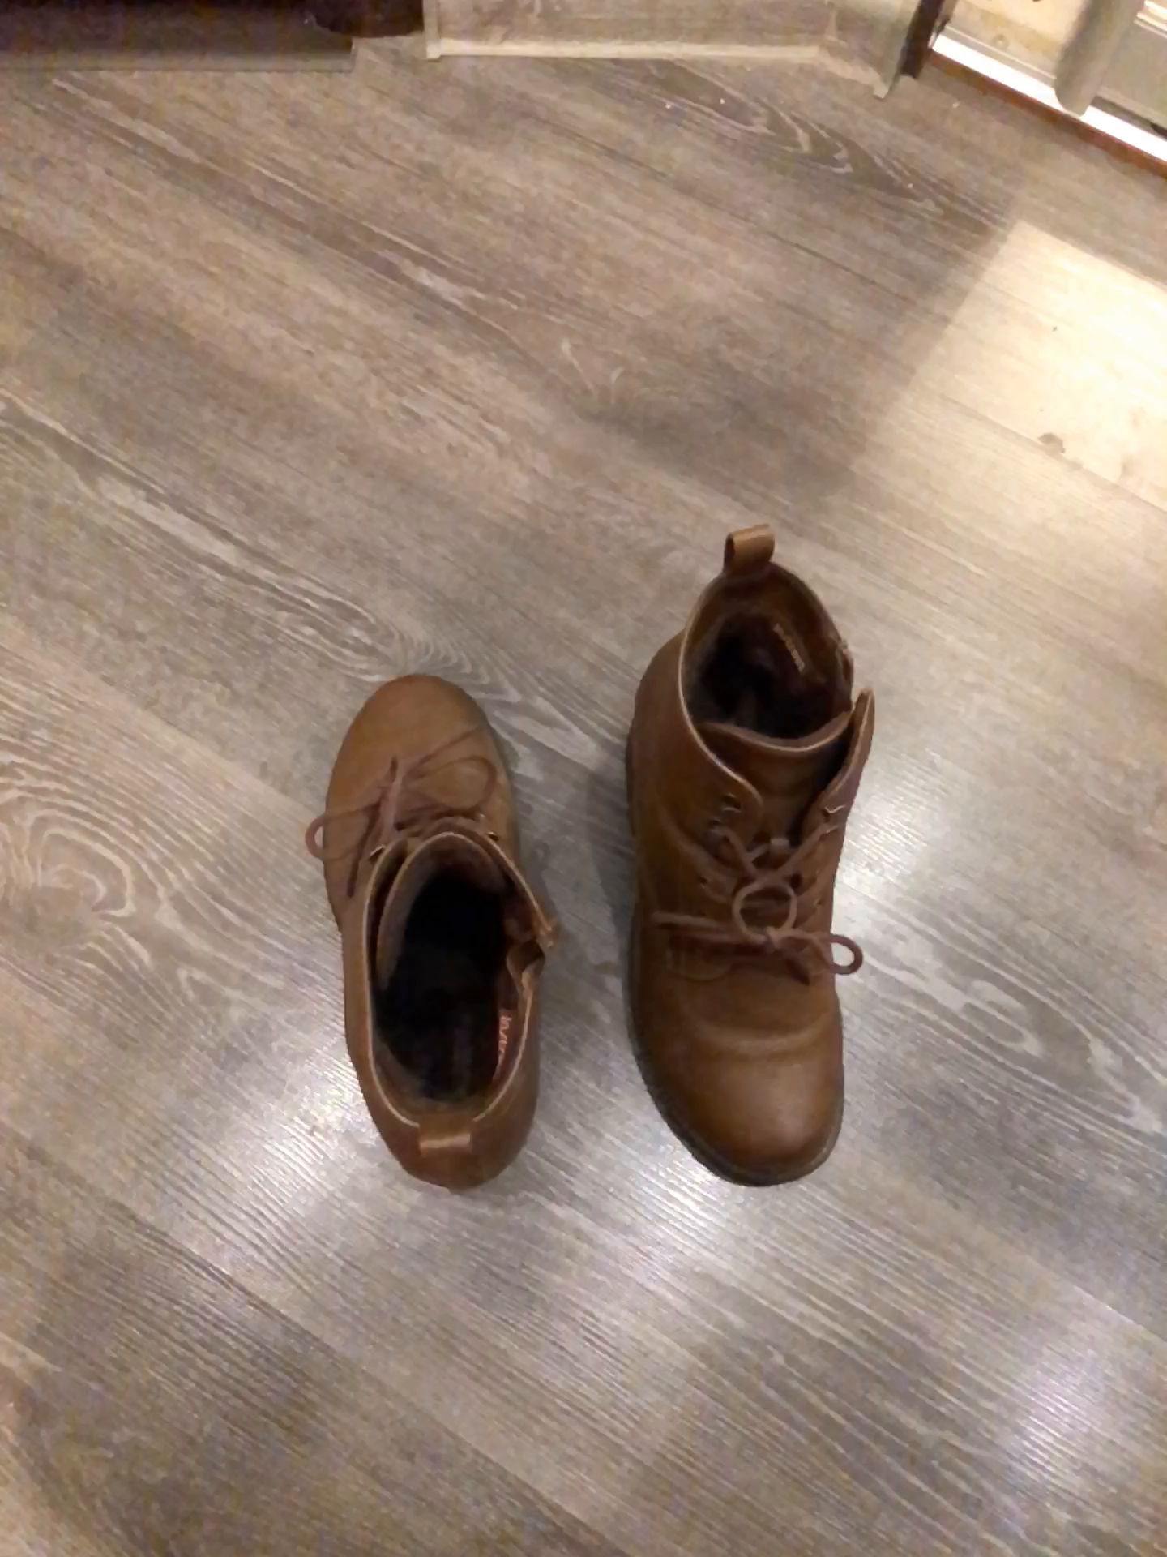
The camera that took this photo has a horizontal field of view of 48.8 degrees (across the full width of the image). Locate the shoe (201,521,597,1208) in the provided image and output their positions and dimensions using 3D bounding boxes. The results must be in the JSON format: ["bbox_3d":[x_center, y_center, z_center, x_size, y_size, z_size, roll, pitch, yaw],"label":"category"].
[{"bbox_3d":[-0.068,0.045,0.507,0.100,0.170,0.220,-10,72,-5],"label":"shoe"}]

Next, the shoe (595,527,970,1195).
[{"bbox_3d":[0.062,0.046,0.516,0.090,0.190,0.220,-4,71,-3],"label":"shoe"}]
